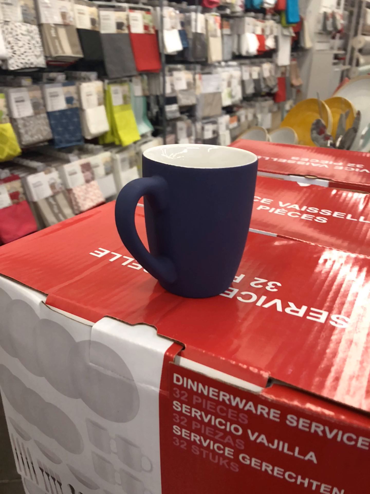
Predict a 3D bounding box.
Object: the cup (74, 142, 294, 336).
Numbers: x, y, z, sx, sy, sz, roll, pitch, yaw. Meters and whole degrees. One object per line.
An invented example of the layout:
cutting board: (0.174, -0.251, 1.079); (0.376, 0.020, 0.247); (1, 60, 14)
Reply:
cup: (0.004, -0.019, 0.286); (0.090, 0.088, 0.121); (16, 26, 35)
